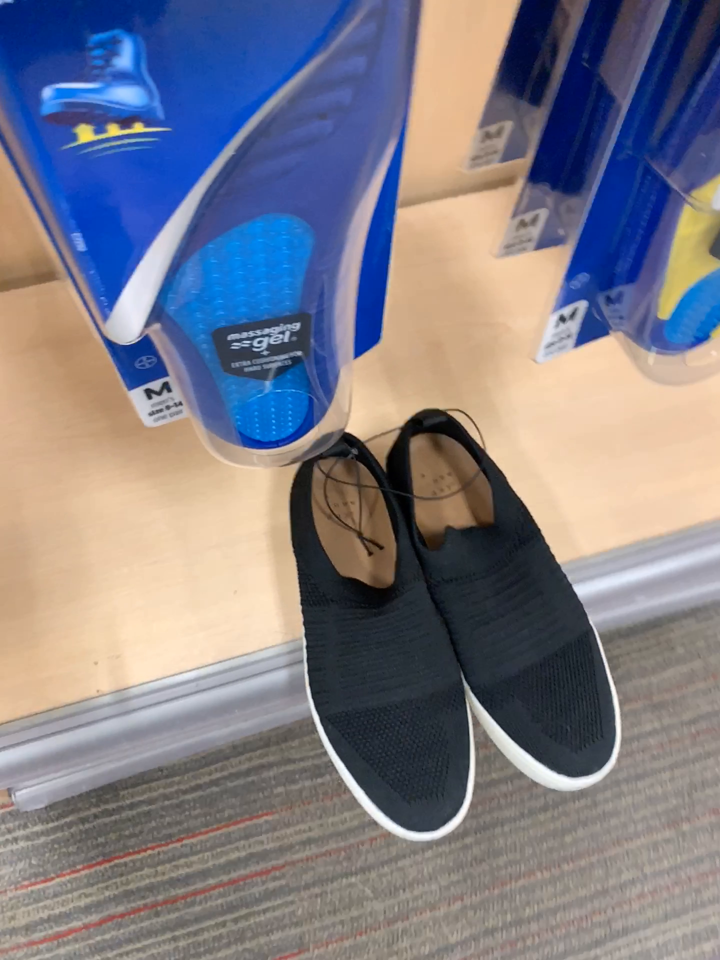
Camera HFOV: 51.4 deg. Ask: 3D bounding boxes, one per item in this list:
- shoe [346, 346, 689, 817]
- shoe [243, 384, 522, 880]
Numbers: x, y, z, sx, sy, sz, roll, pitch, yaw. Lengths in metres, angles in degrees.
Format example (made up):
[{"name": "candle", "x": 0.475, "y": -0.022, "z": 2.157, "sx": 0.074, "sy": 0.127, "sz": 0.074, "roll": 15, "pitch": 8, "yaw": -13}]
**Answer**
[{"name": "shoe", "x": 0.084, "y": 0.062, "z": 0.492, "sx": 0.100, "sy": 0.100, "sz": 0.270, "roll": -18, "pitch": 69, "yaw": -9}, {"name": "shoe", "x": 0.003, "y": 0.089, "z": 0.477, "sx": 0.100, "sy": 0.100, "sz": 0.270, "roll": -11, "pitch": 68, "yaw": -7}]
